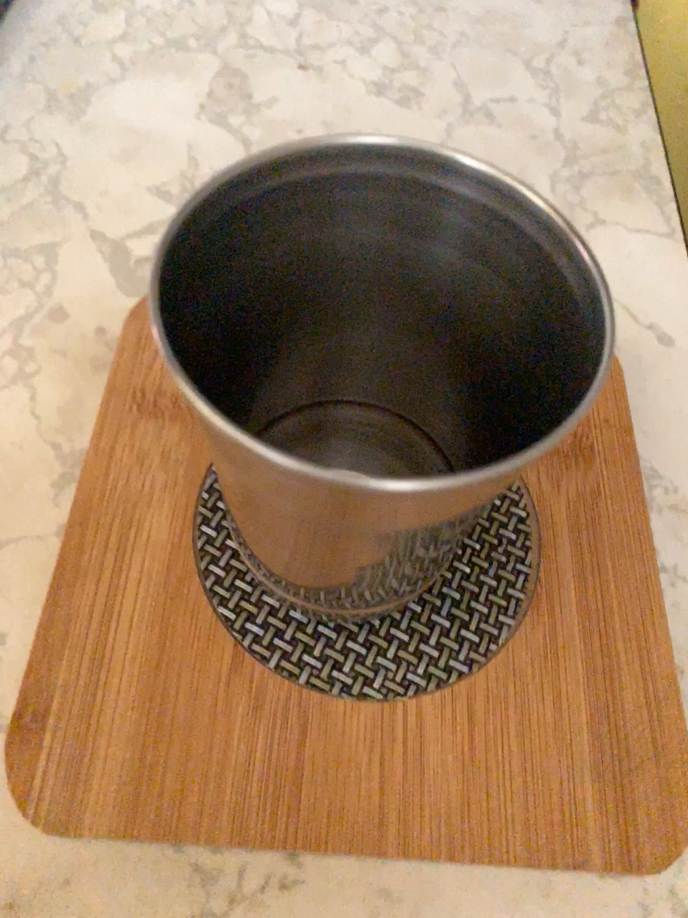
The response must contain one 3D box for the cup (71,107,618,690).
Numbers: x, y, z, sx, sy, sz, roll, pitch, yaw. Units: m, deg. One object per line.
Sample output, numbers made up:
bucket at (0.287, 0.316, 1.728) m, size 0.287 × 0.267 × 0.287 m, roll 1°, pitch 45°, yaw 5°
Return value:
cup at (0.001, -0.005, 0.149) m, size 0.070 × 0.091 × 0.073 m, roll 2°, pitch 58°, yaw -3°
